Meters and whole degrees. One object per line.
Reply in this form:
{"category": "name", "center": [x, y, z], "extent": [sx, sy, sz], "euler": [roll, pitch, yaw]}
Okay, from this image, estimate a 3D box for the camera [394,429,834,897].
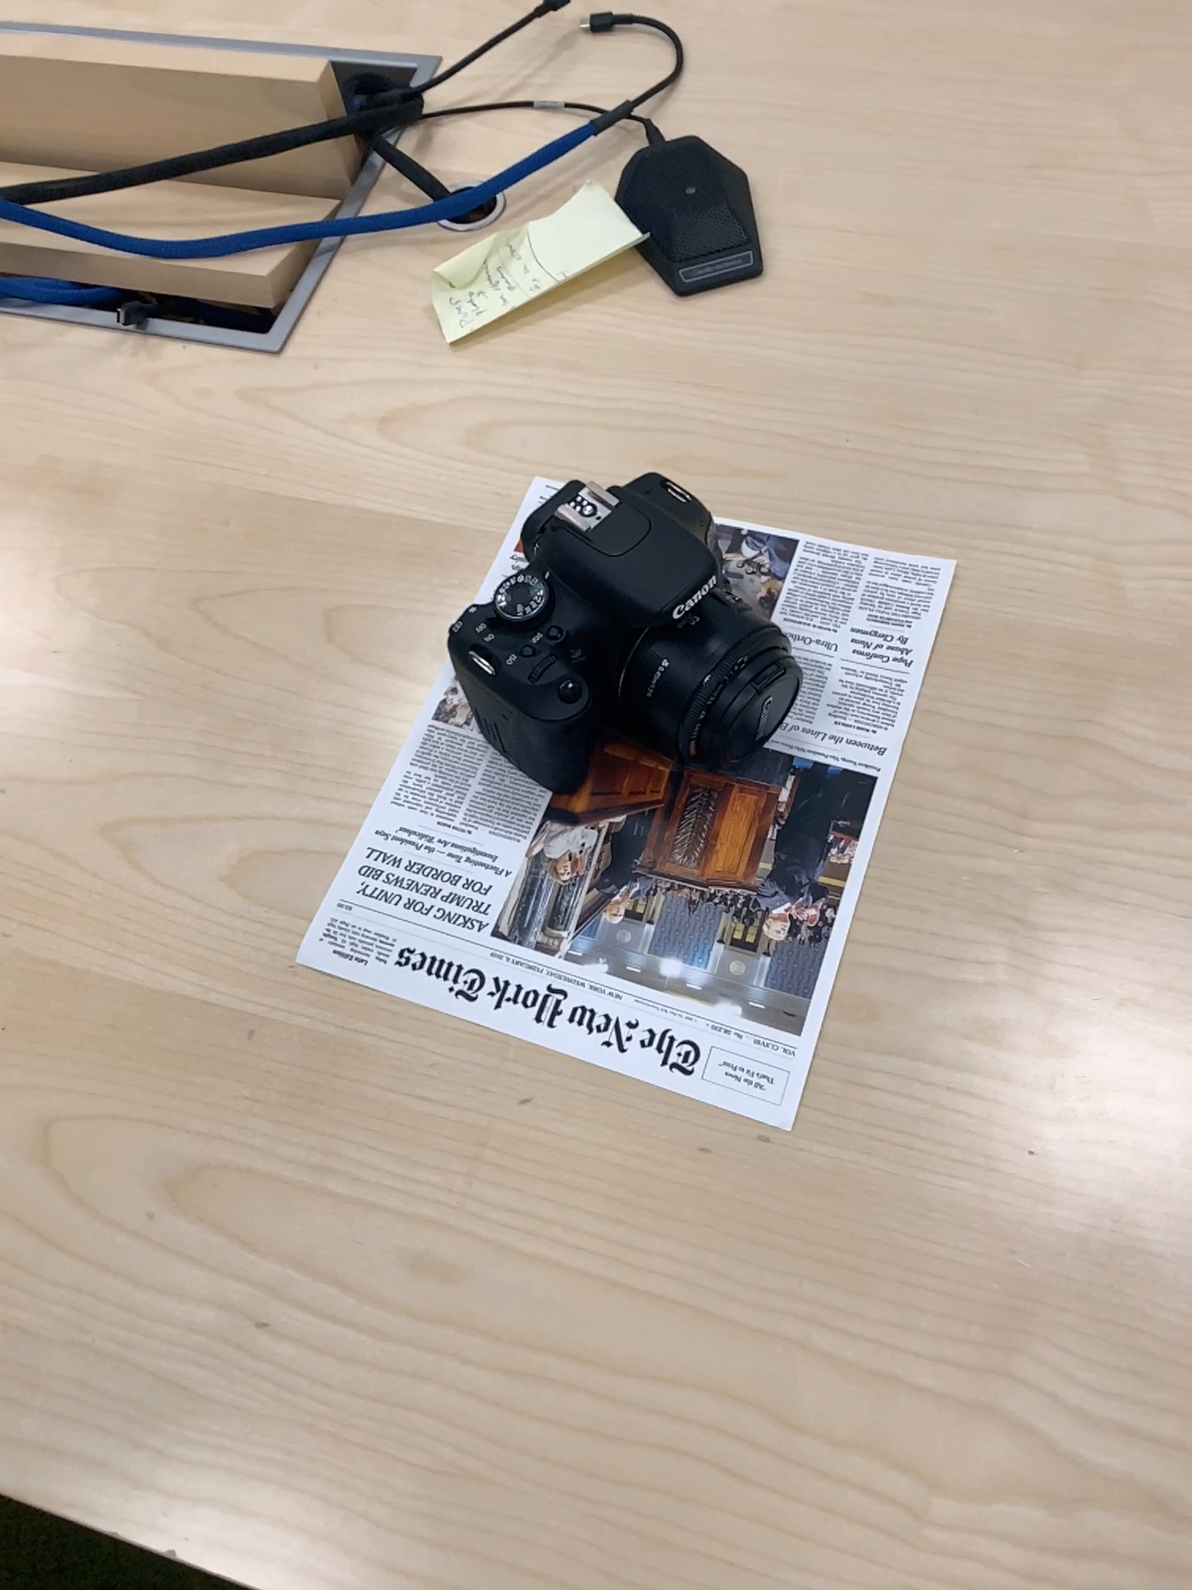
{"category": "camera", "center": [0.010, -0.056, 0.525], "extent": [0.124, 0.100, 0.122], "euler": [-40, 65, -15]}
